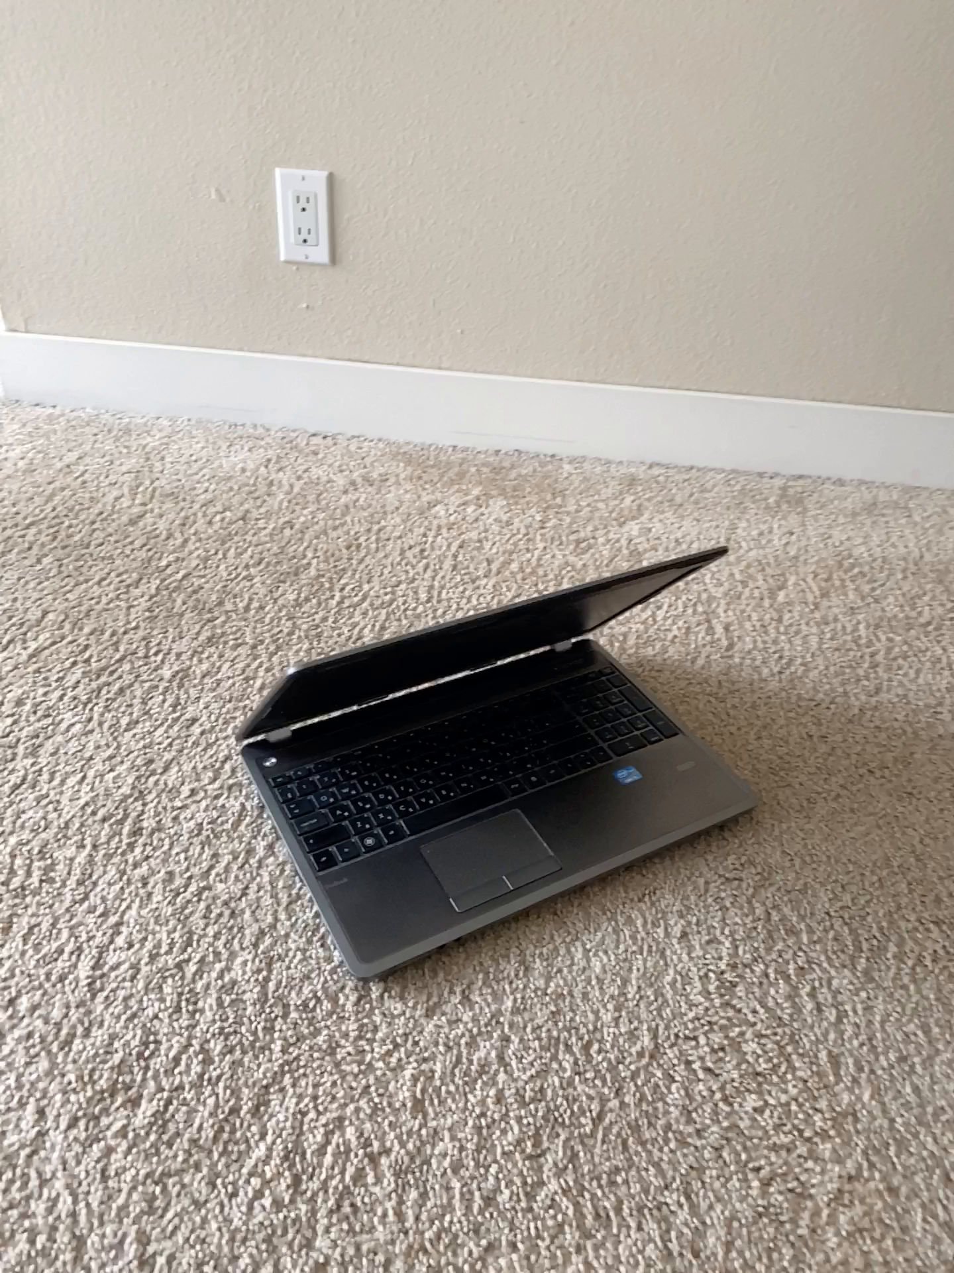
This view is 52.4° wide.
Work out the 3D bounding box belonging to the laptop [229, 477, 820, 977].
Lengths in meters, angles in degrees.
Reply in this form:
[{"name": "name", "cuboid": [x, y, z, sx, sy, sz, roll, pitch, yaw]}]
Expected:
[{"name": "laptop", "cuboid": [0.028, 0.042, 0.777, 0.368, 0.186, 0.255, -16, 40, -27]}]
